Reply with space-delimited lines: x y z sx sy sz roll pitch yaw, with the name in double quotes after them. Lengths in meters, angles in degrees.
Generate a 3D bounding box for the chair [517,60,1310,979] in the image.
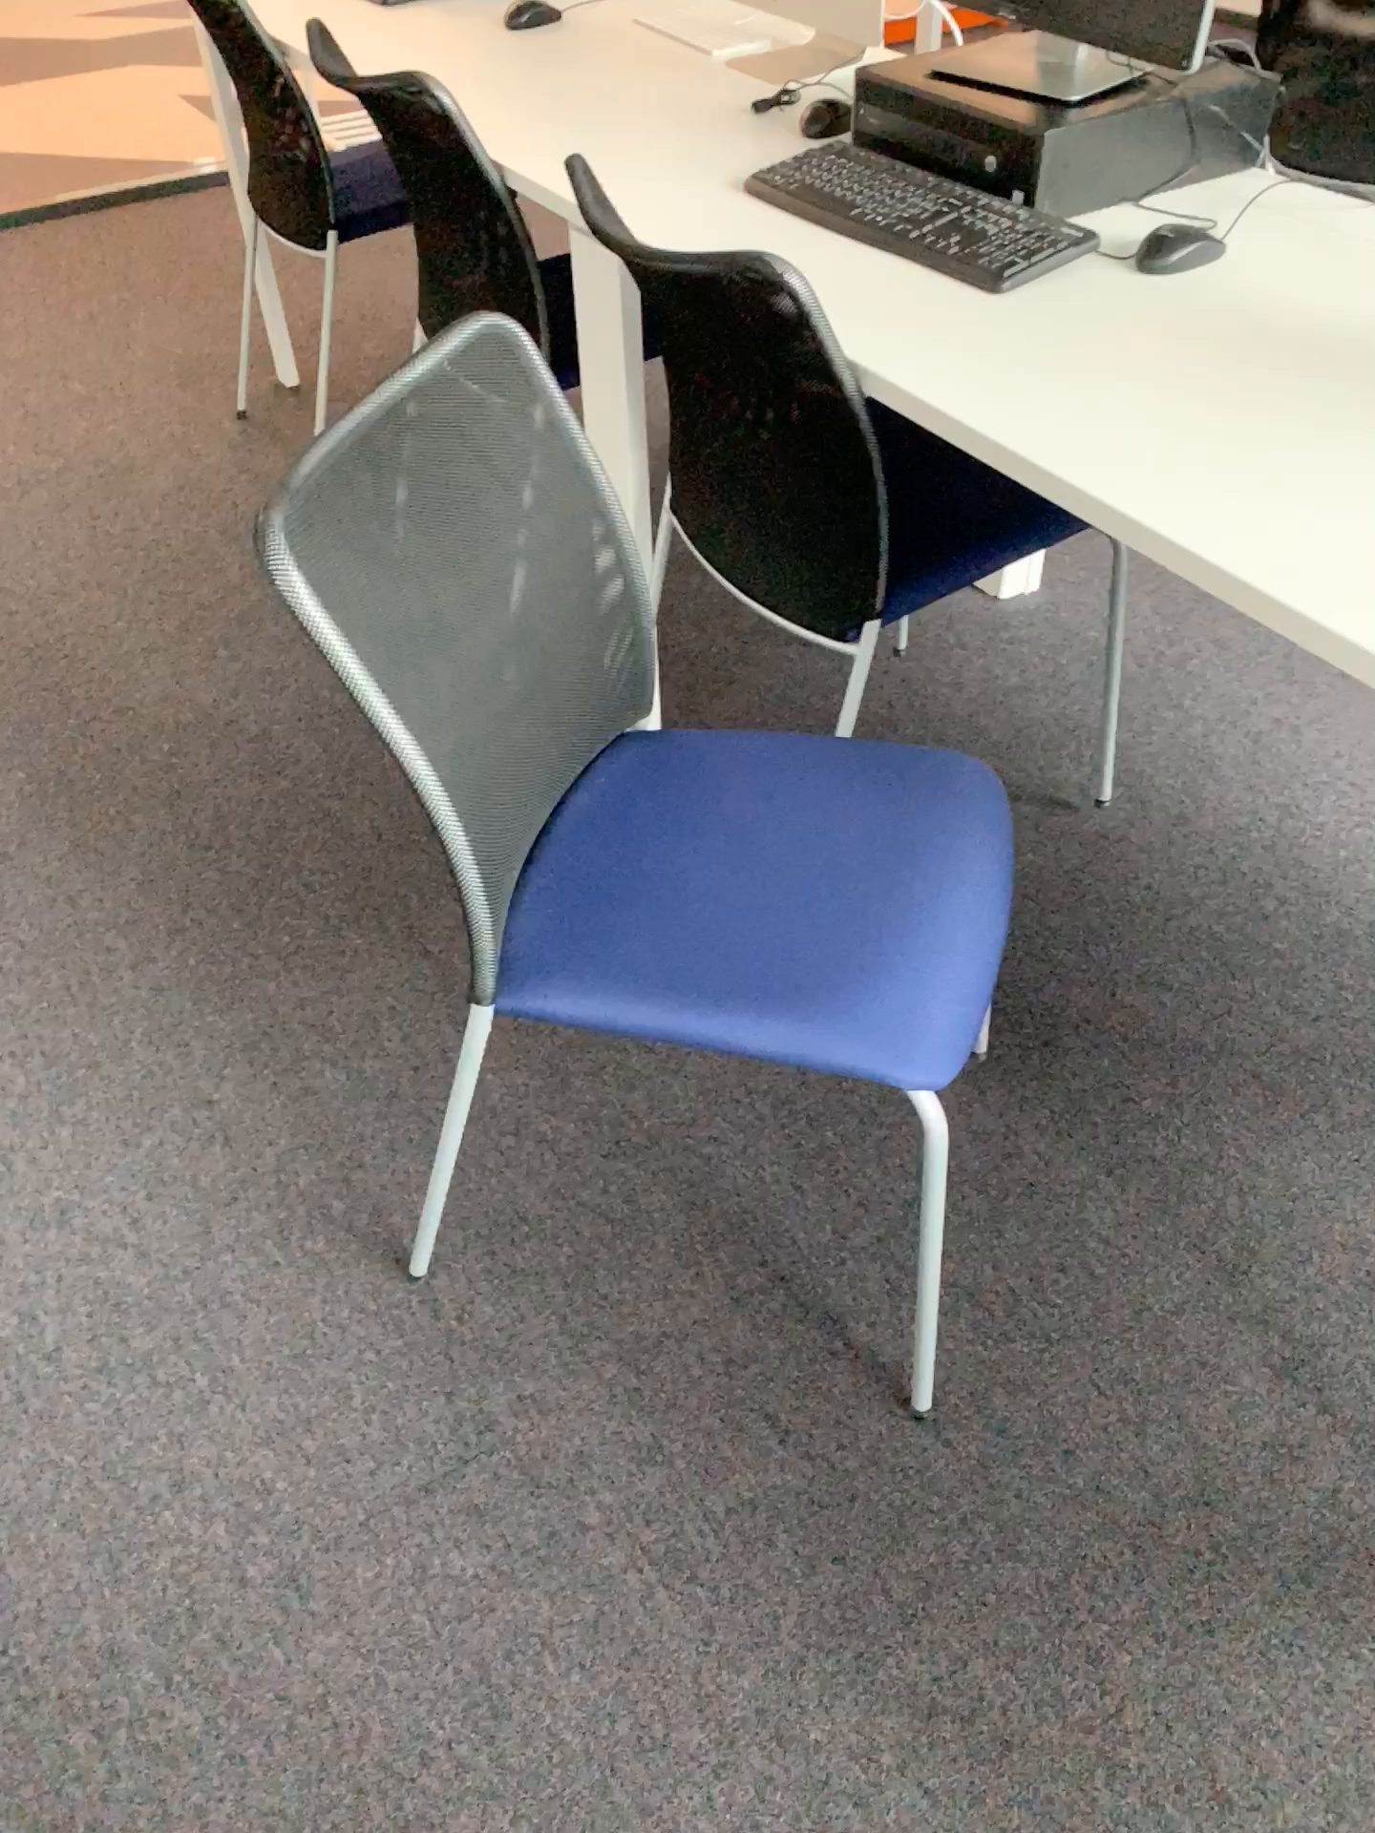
0.244 -0.521 1.837 0.651 0.865 0.572 -24 48 -22 "chair"

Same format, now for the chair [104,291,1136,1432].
0.006 -0.047 1.347 0.630 0.826 0.573 11 45 13 "chair"
